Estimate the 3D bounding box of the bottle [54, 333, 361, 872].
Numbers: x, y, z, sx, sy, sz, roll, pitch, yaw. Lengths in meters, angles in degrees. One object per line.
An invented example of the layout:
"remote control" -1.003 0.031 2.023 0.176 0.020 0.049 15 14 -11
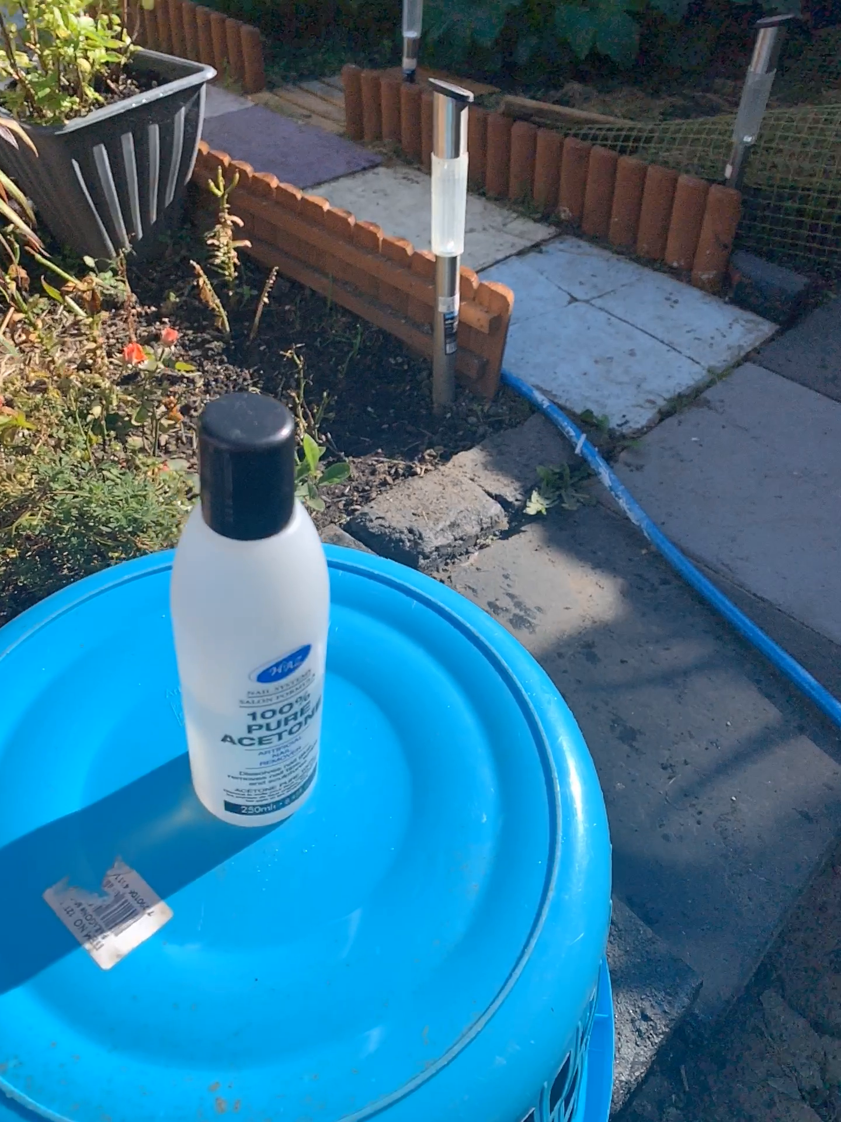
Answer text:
"bottle" -0.063 0.024 0.296 0.060 0.178 0.060 2 43 -2
